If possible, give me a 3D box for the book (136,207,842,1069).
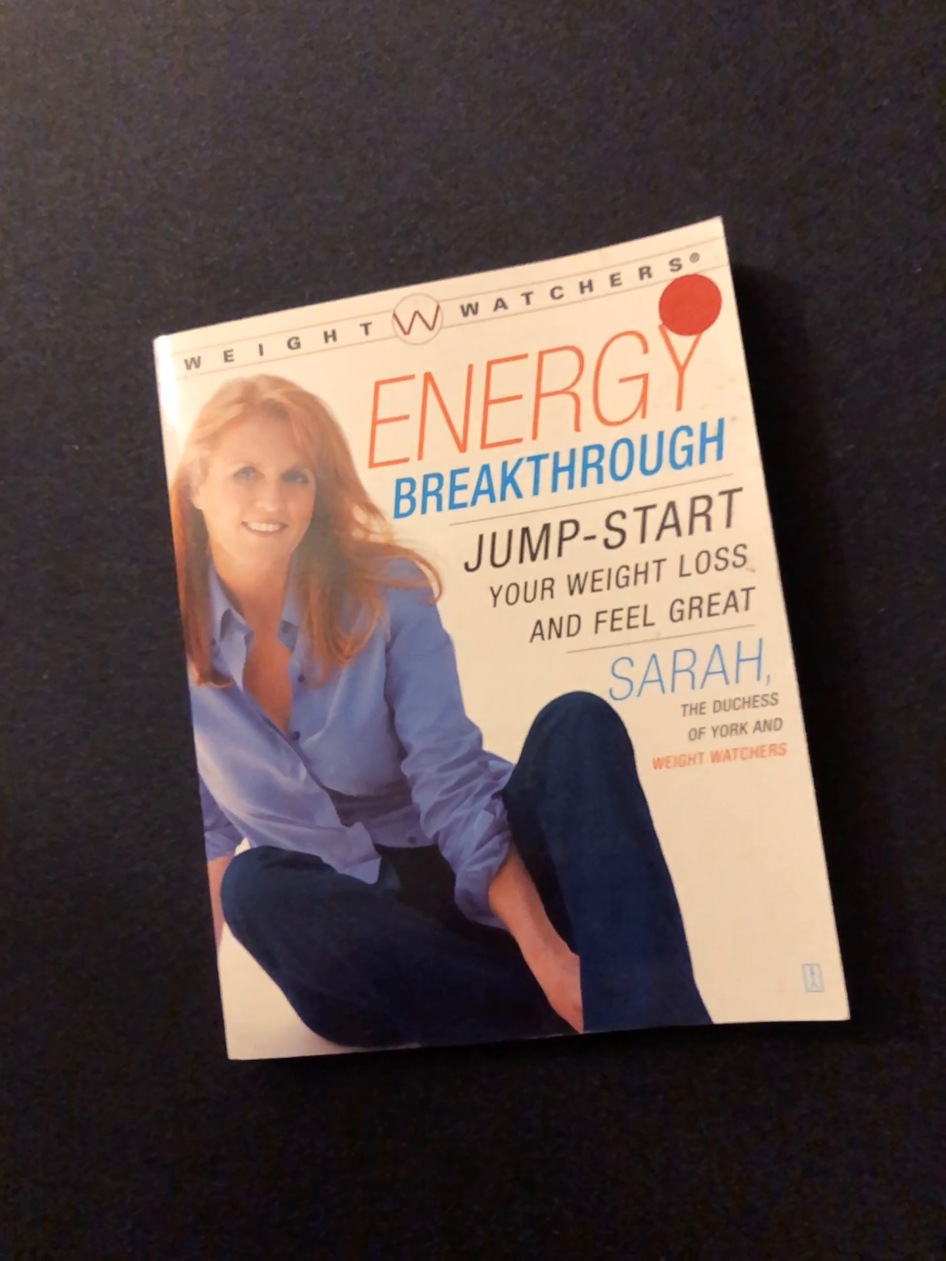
[{"bbox_3d":[-0.002,0.005,0.327,0.185,0.030,0.234,-8,83,10],"label":"book"}]
